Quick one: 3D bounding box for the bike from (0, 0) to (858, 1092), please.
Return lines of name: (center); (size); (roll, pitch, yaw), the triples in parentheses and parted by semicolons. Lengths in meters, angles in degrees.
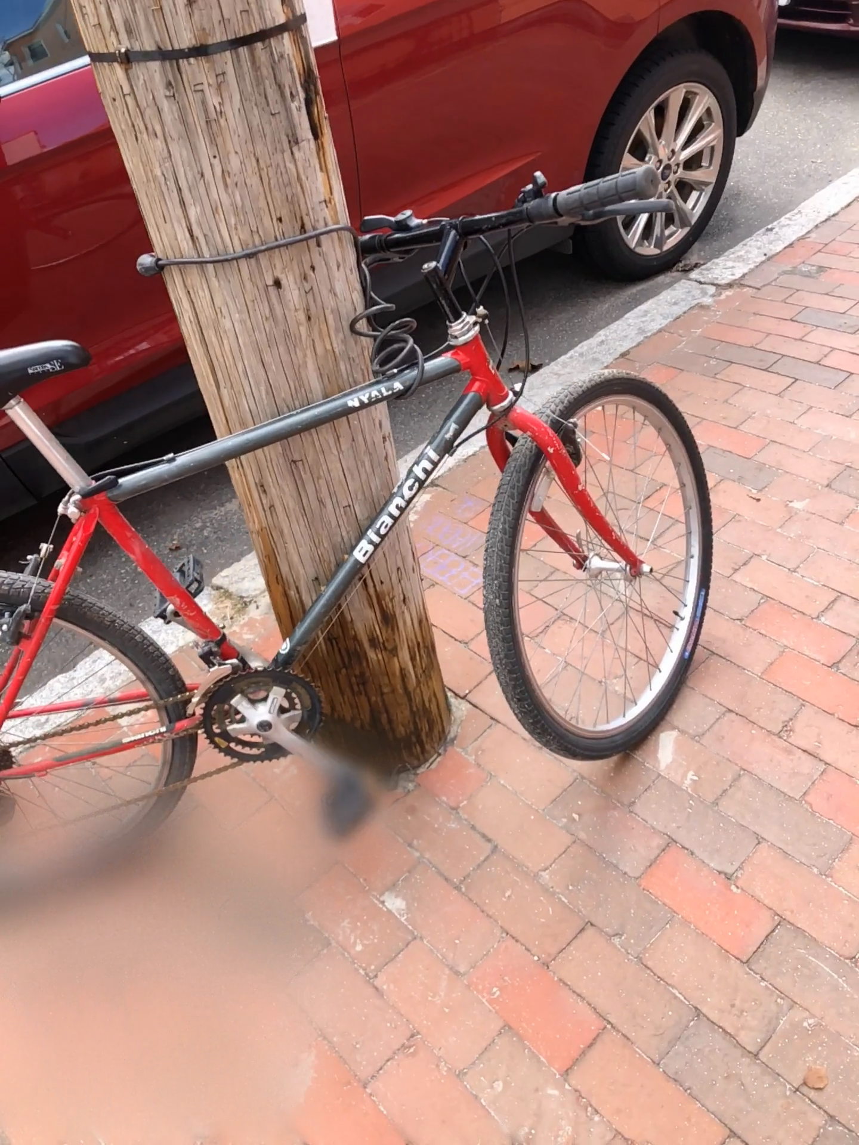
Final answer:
bike: (-0.266, -0.112, 1.376); (1.527, 0.983, 0.583); (-21, 40, -11)
